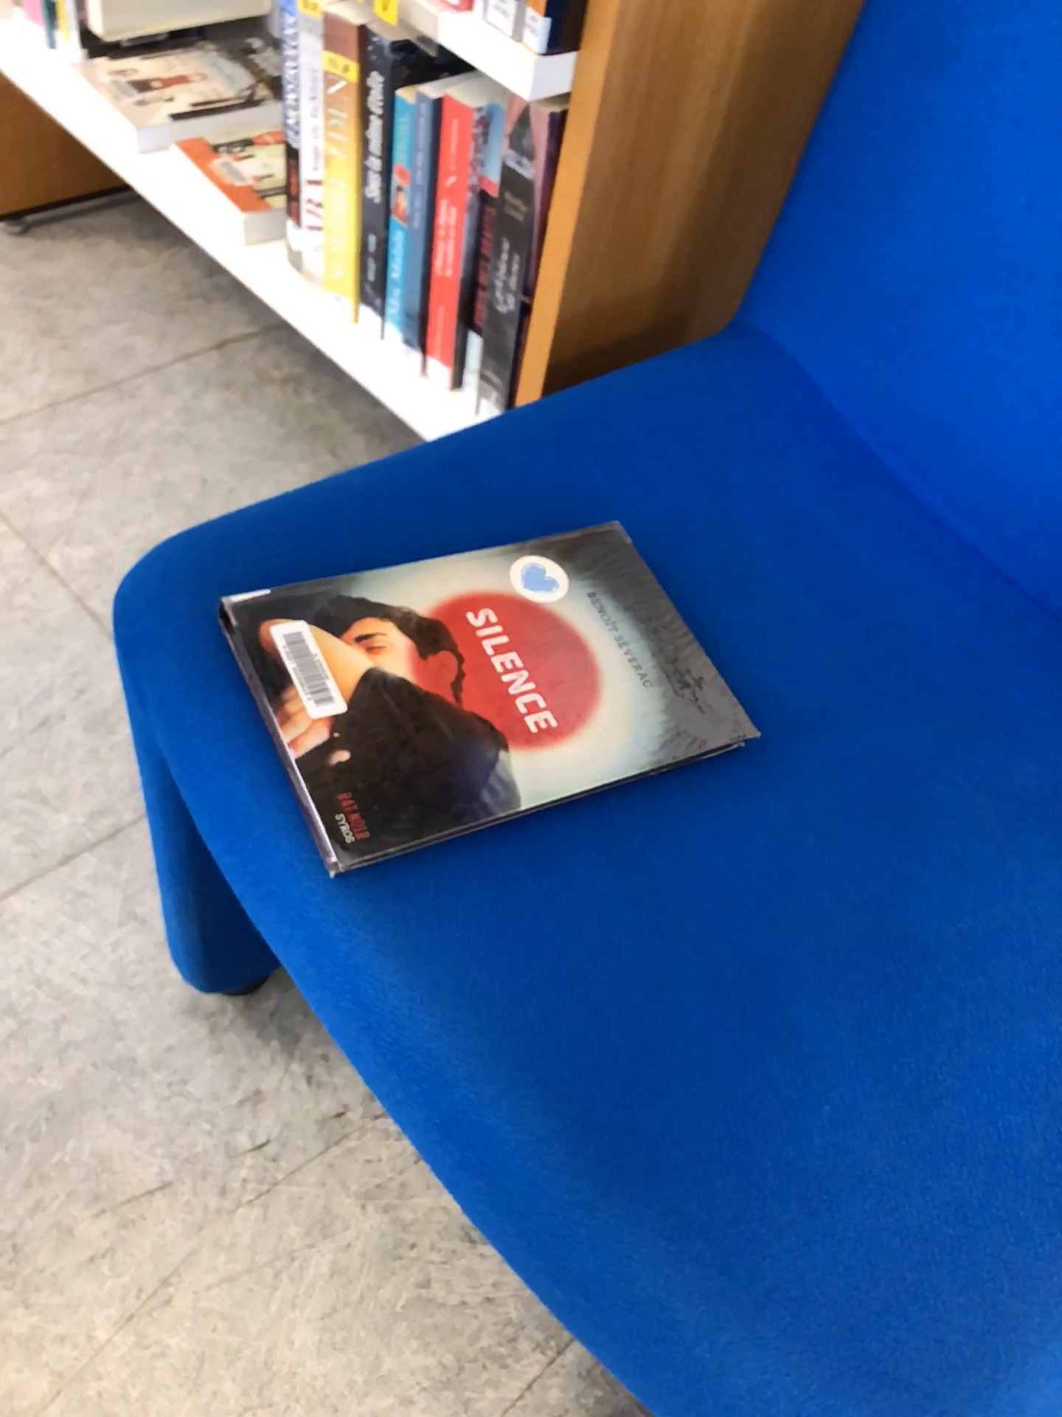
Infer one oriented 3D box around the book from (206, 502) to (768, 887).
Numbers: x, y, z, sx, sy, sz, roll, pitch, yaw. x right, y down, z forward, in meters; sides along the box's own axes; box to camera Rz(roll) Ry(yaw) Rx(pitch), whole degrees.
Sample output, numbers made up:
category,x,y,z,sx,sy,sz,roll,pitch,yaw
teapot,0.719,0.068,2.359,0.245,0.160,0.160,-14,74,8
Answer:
category,x,y,z,sx,sy,sz,roll,pitch,yaw
book,-0.020,-0.018,0.526,0.211,0.023,0.147,-14,58,-25
